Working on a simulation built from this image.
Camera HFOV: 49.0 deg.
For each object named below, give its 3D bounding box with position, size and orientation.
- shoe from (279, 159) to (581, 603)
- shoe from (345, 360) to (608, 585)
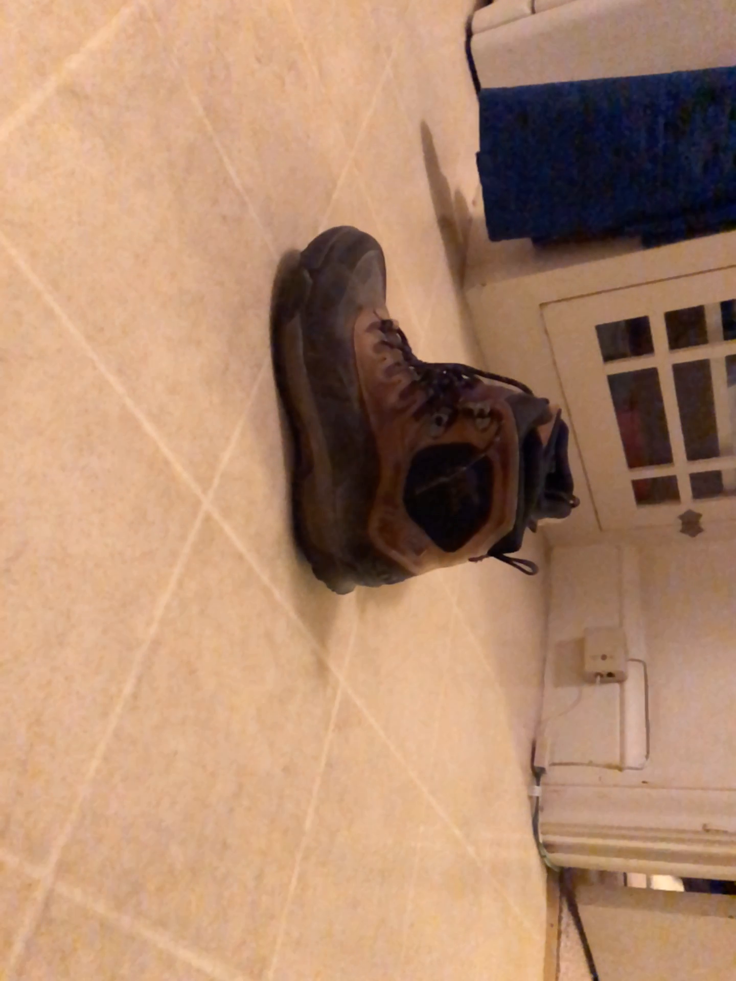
[{"bbox_3d":[0.050,-0.070,0.642,0.122,0.185,0.299,10,74,-67],"label":"shoe"},{"bbox_3d":[0.127,-0.029,0.811,0.294,0.185,0.113,-47,127,-61],"label":"shoe"}]
